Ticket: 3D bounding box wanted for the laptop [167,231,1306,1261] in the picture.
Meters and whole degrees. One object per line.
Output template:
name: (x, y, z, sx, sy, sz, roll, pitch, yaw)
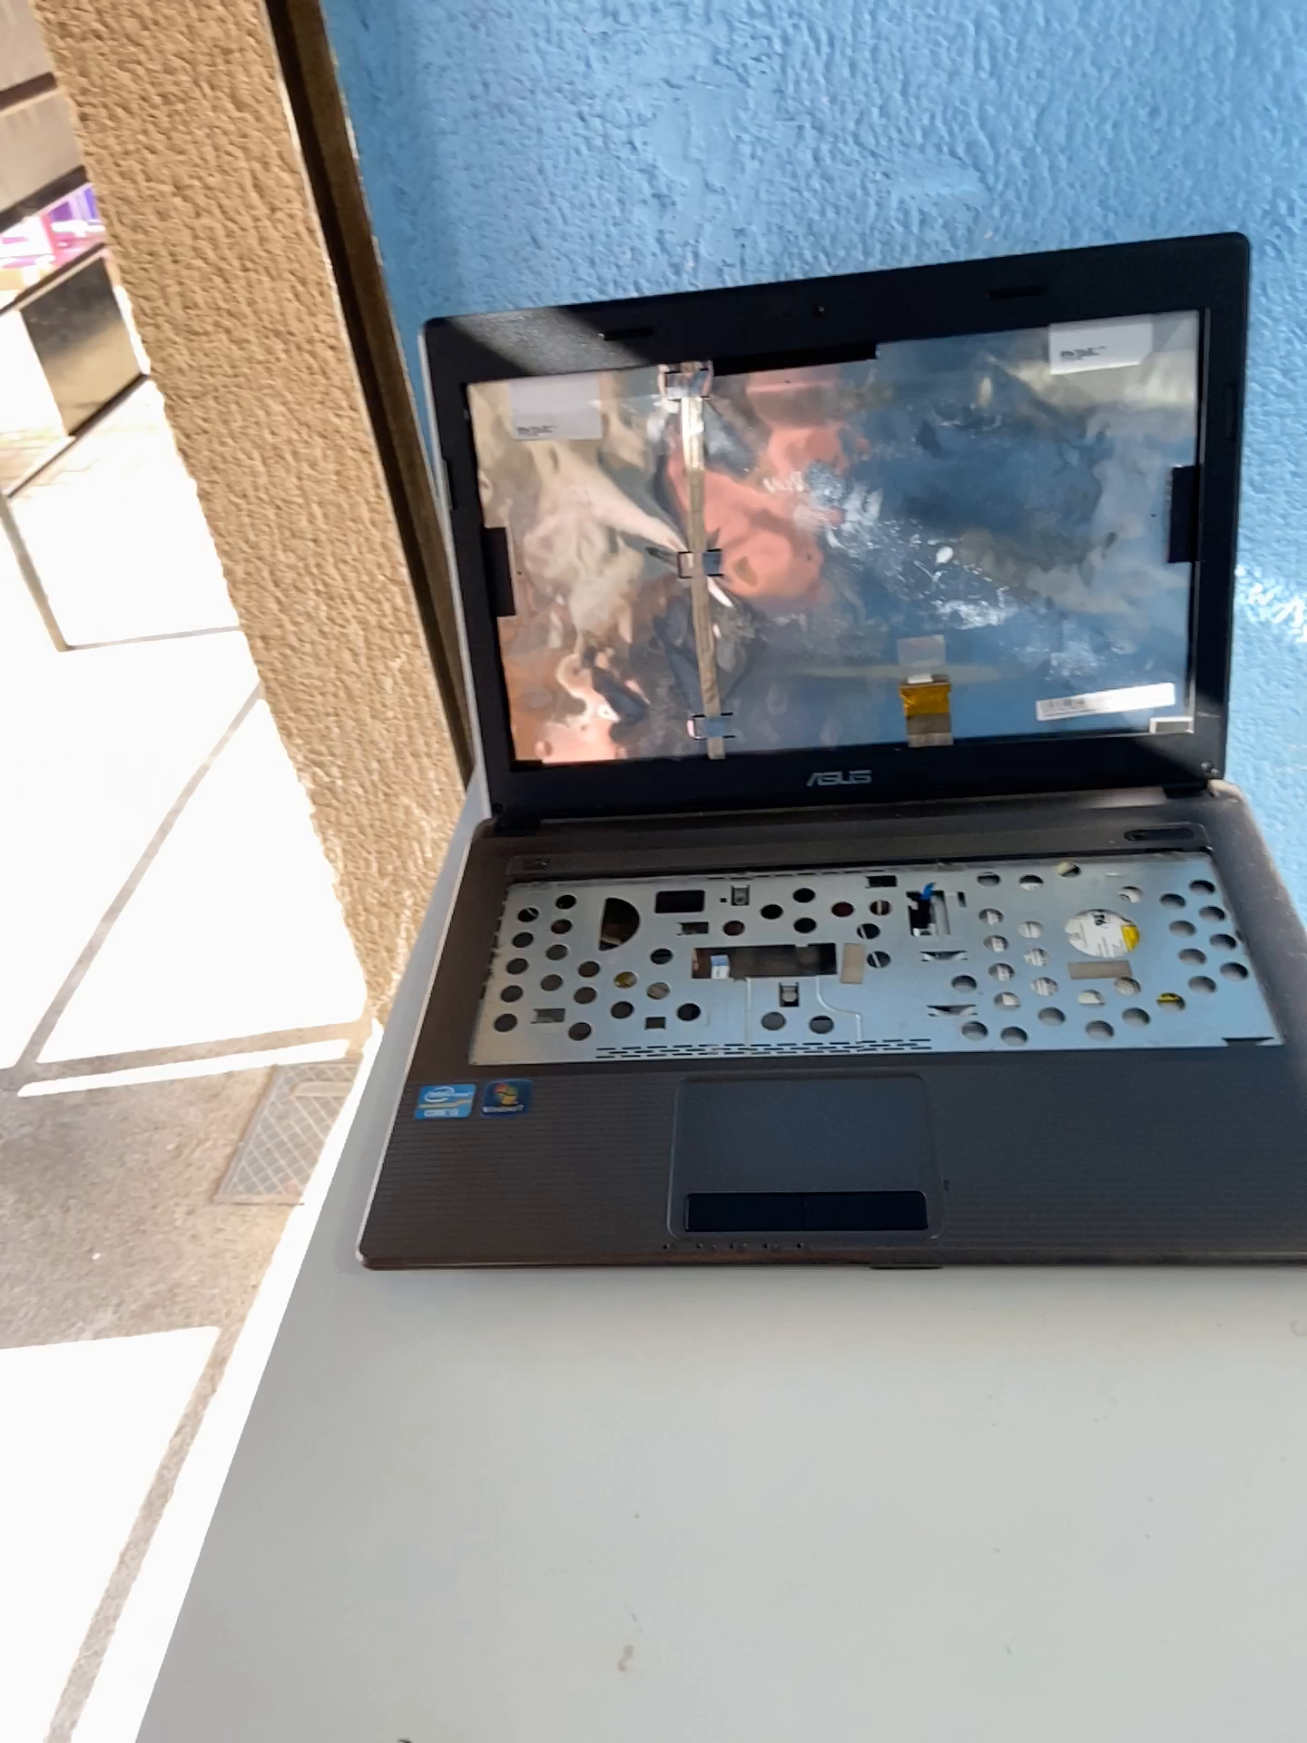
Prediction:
laptop: (0.070, -0.061, 0.488, 0.336, 0.202, 0.329, -3, 39, 7)
